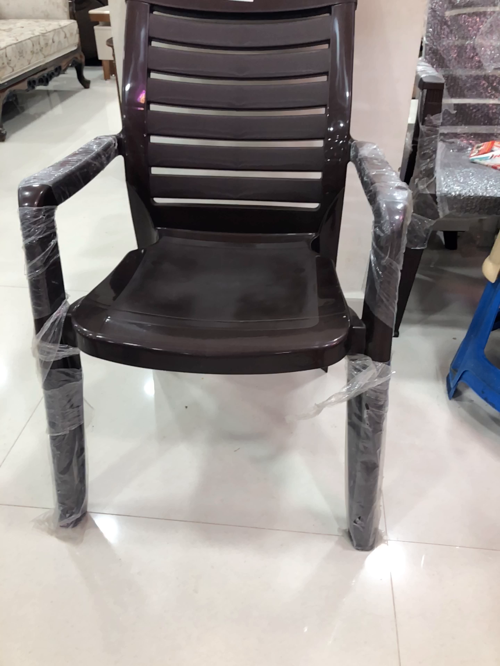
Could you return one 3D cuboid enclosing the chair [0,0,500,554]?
[{"bbox_3d":[-0.035,-0.202,1.060,0.640,1.003,0.675,3,34,3],"label":"chair"}]
